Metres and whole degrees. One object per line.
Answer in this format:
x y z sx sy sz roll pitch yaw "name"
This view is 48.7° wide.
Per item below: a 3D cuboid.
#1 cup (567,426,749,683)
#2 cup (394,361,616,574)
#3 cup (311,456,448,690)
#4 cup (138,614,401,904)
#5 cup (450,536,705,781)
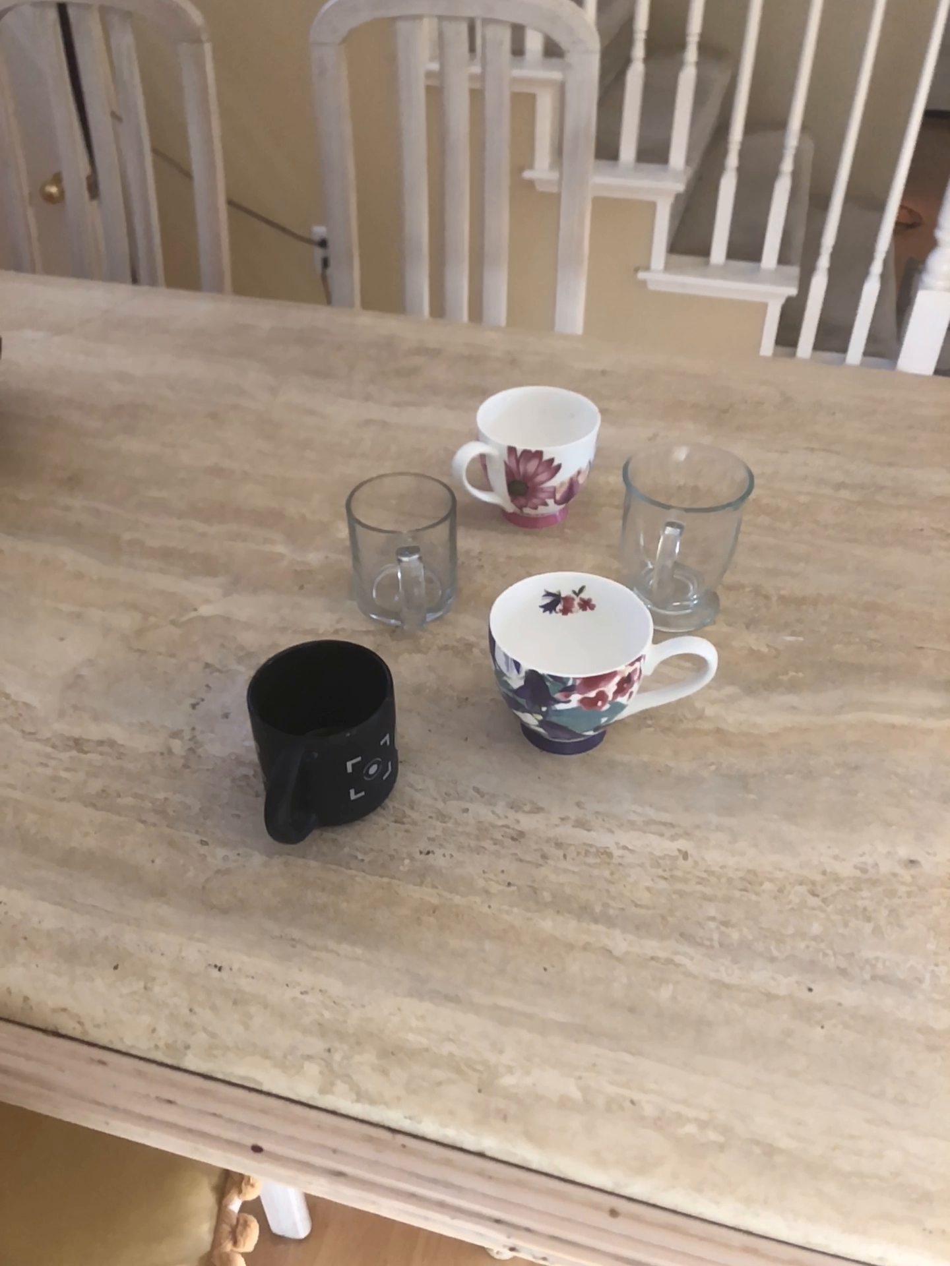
0.139 -0.062 0.793 0.100 0.119 0.141 12 42 14 "cup"
0.026 -0.146 0.901 0.151 0.099 0.110 -32 50 -32 "cup"
-0.069 -0.047 0.798 0.090 0.119 0.131 -3 40 -2 "cup"
-0.121 0.075 0.662 0.100 0.089 0.141 12 42 14 "cup"
0.068 0.015 0.691 0.150 0.099 0.111 5 41 7 "cup"
